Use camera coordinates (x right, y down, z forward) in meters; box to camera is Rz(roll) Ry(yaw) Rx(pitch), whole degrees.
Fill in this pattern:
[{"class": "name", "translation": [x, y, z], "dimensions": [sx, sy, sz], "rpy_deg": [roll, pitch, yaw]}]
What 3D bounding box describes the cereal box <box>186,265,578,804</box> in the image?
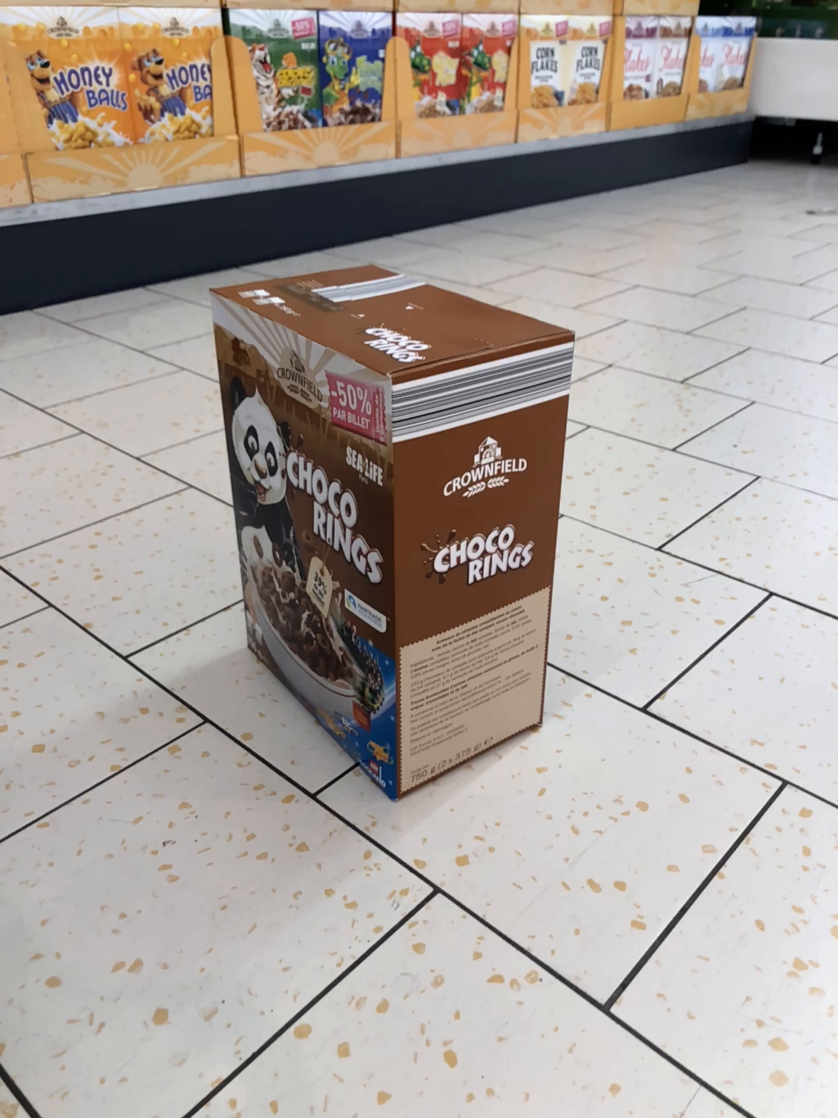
[{"class": "cereal box", "translation": [-0.029, -0.028, 0.569], "dimensions": [0.131, 0.249, 0.200], "rpy_deg": [-18, 34, -30]}]
